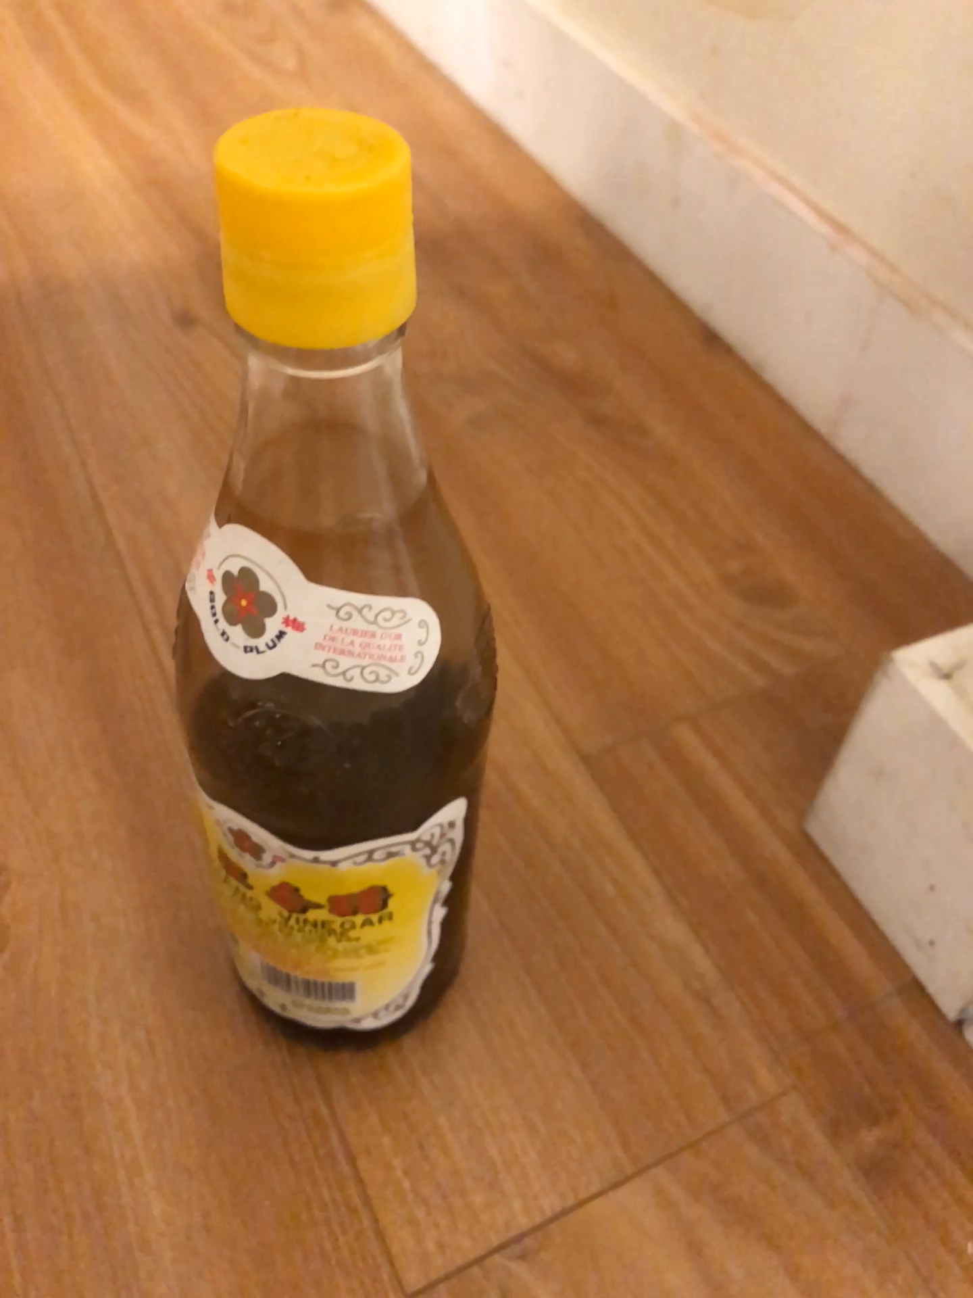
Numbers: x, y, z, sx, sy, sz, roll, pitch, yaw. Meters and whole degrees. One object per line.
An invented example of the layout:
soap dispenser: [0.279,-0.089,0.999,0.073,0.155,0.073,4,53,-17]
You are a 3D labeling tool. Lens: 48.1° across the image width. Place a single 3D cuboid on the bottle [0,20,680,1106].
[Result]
bottle: [-0.029,0.007,0.236,0.070,0.229,0.070,3,48,-3]
